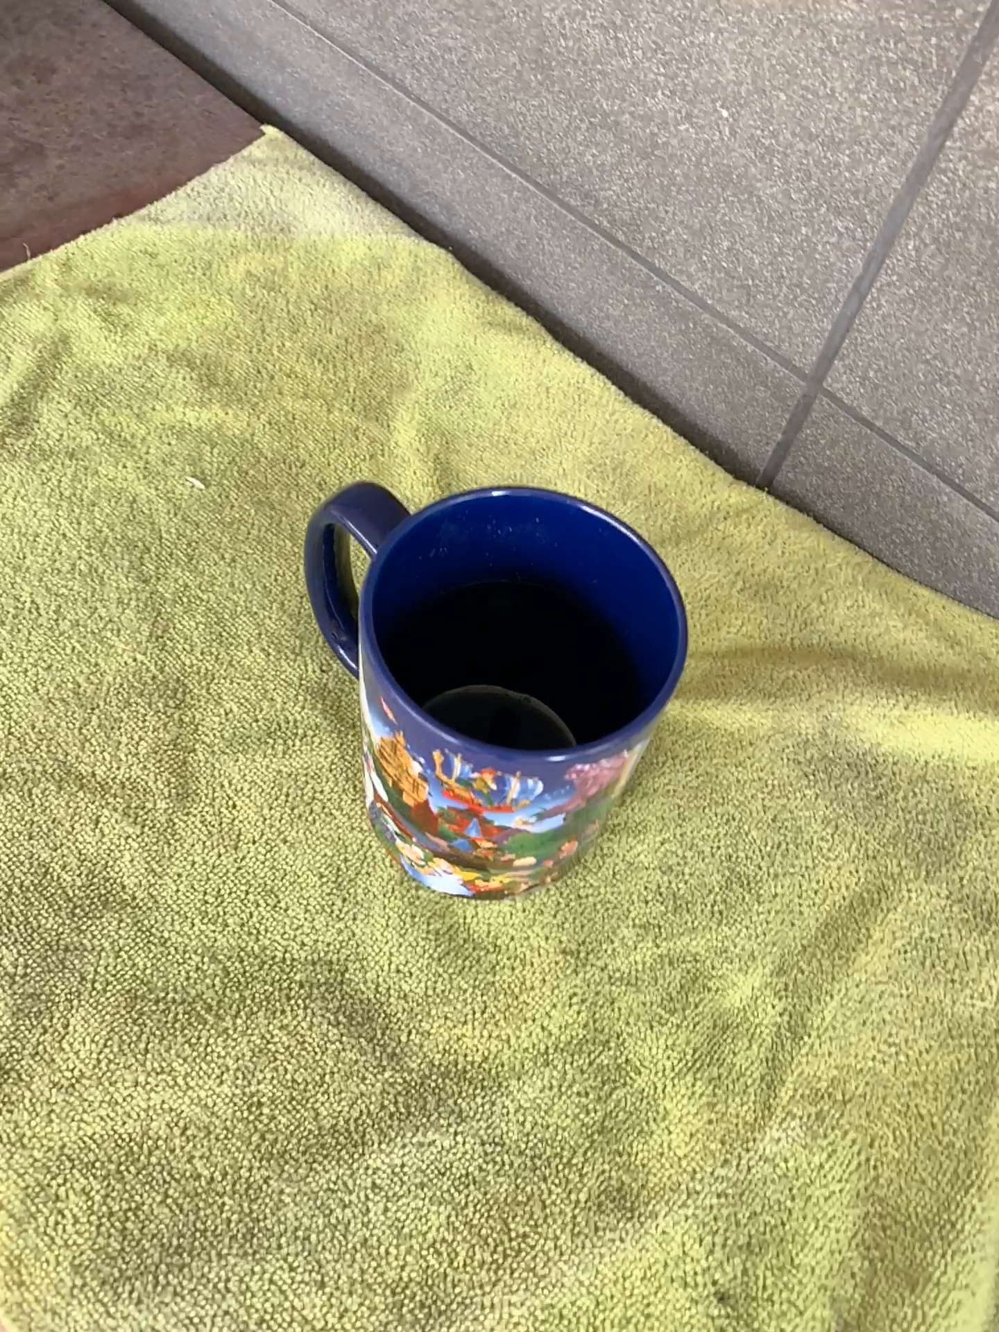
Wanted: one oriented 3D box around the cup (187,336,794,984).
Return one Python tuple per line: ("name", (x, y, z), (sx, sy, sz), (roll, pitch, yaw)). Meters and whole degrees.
("cup", (-0.009, 0.000, 0.305), (0.090, 0.110, 0.130), (-35, 69, -24))
